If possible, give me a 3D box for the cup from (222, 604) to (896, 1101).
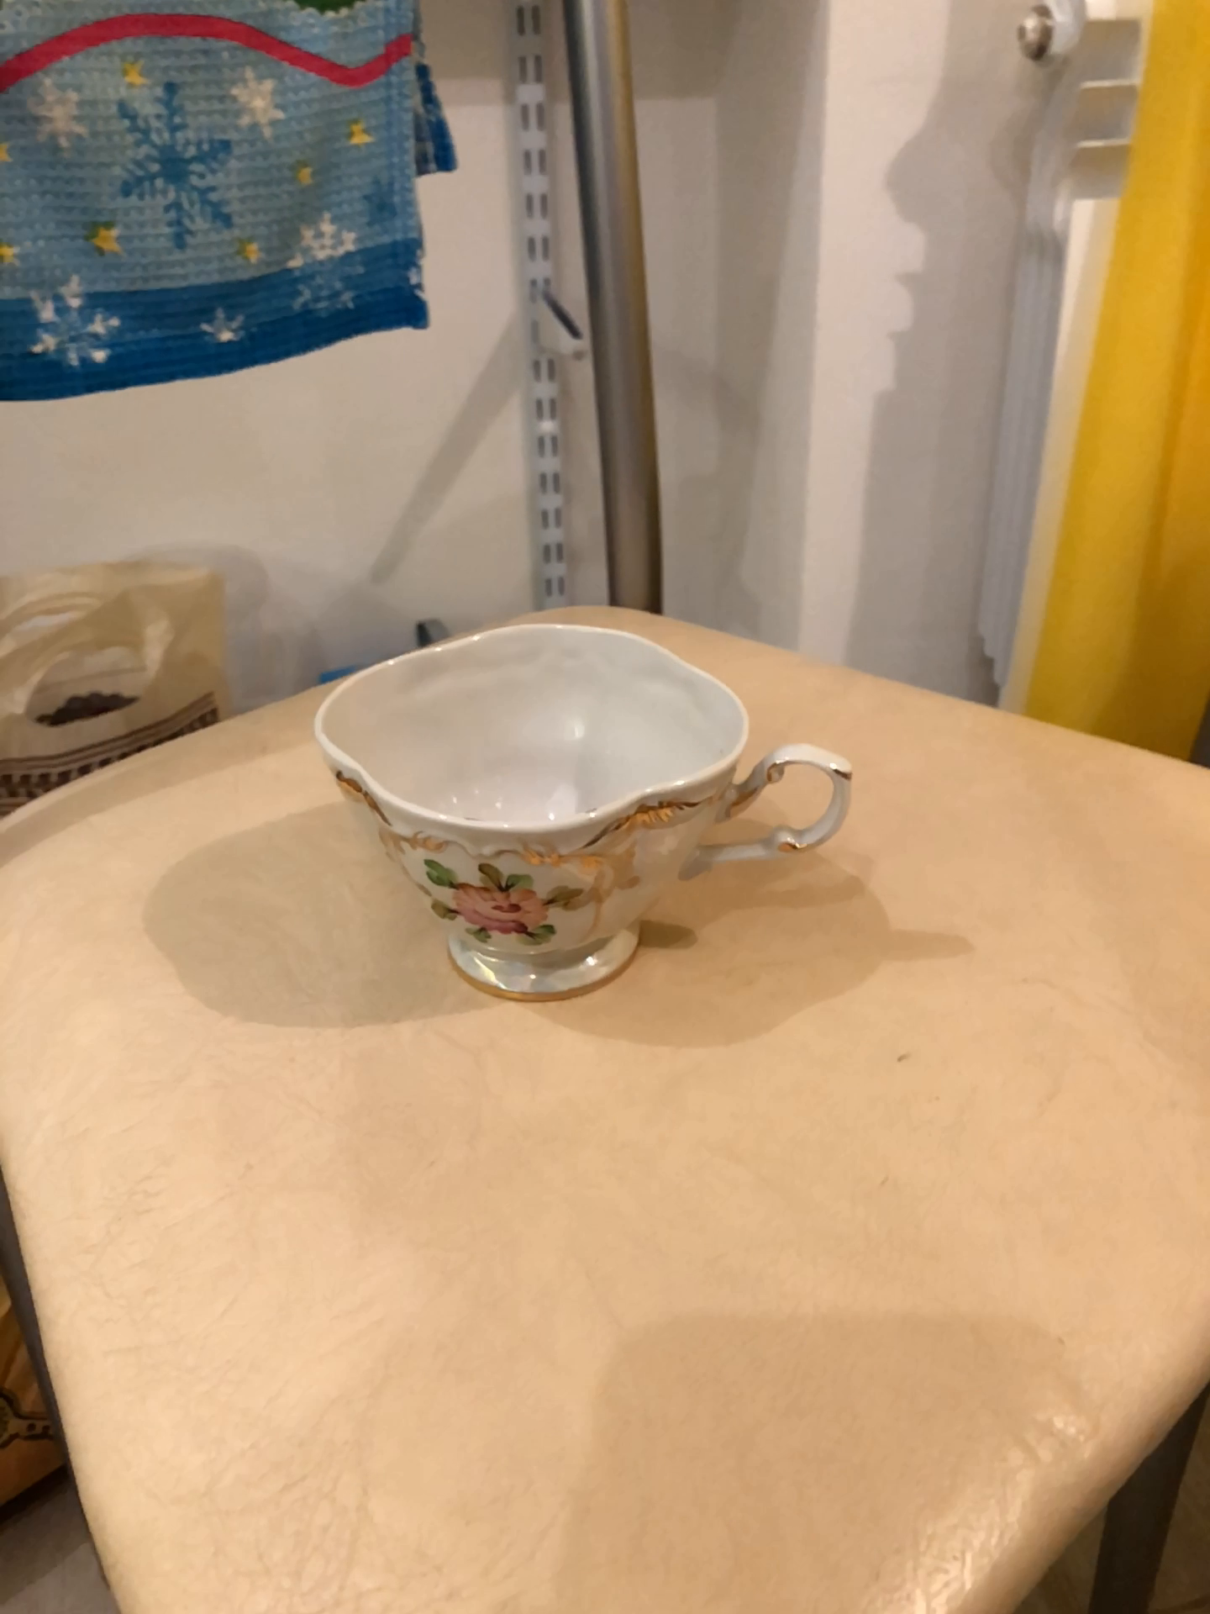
[{"bbox_3d":[-0.004,0.004,0.337,0.139,0.064,0.101,7,33,13],"label":"cup"}]
